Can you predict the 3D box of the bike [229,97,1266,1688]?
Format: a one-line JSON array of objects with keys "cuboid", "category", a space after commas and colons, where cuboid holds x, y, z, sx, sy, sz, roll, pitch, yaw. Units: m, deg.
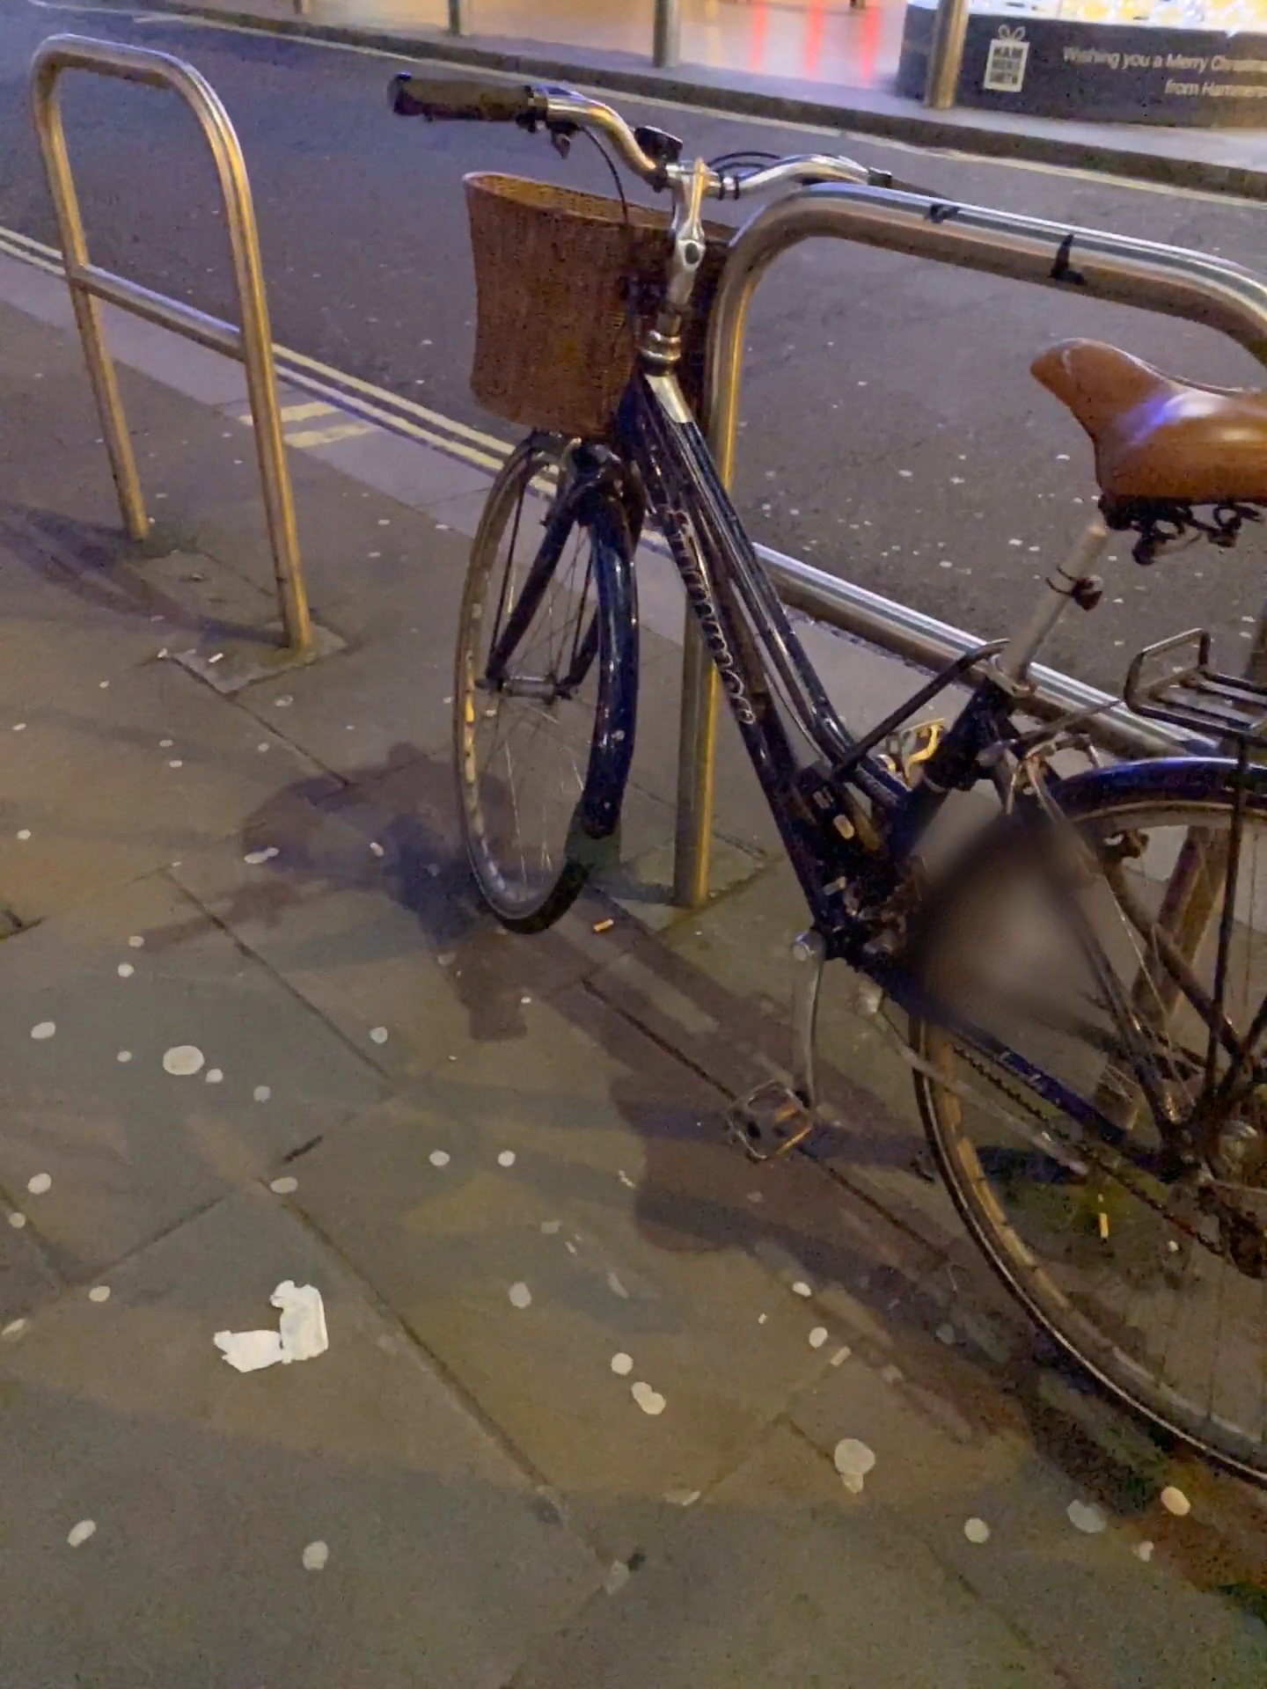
[{"cuboid": [0.289, -0.128, 1.409, 0.661, 1.063, 1.715, -23, 42, -29], "category": "bike"}]
